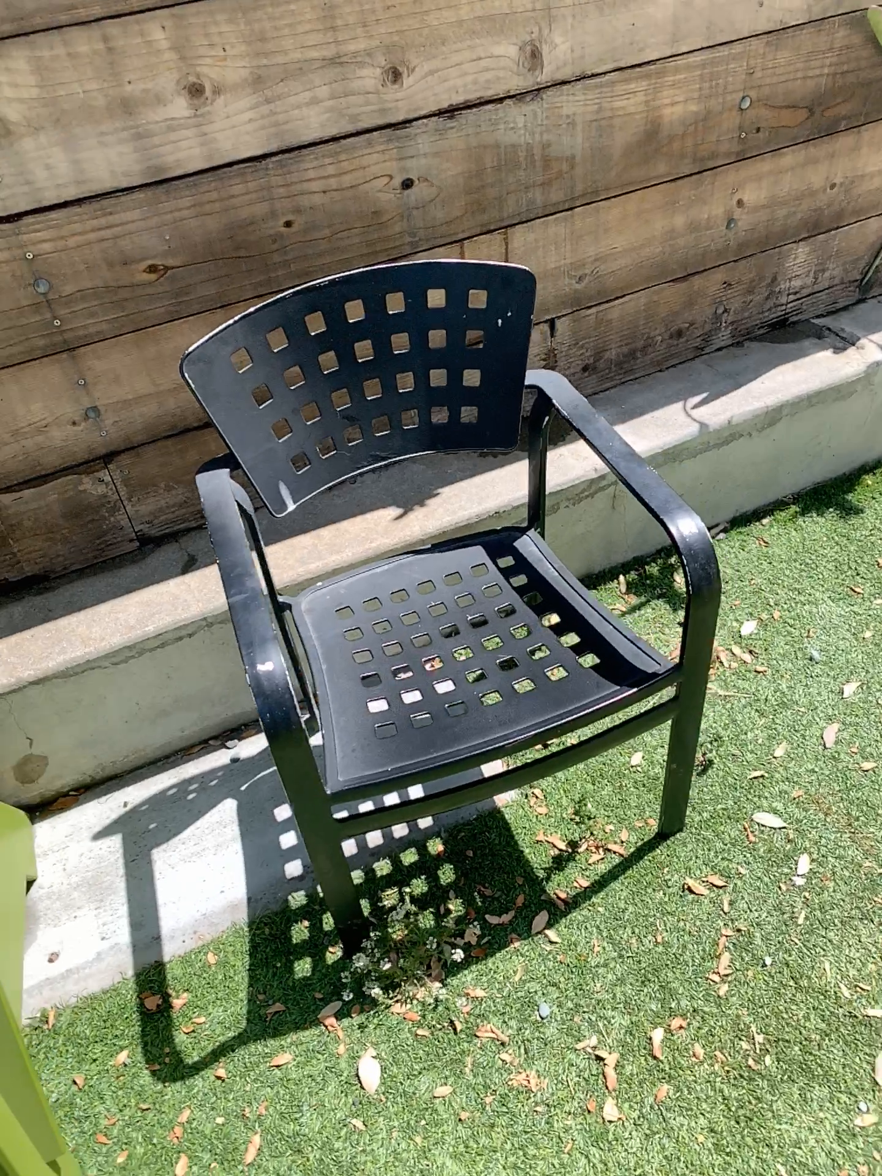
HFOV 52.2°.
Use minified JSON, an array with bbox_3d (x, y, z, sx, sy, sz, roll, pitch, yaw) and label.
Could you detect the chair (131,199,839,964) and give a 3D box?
[{"bbox_3d":[0.028,-0.001,1.198,0.590,0.716,0.523,-18,46,-11],"label":"chair"}]
